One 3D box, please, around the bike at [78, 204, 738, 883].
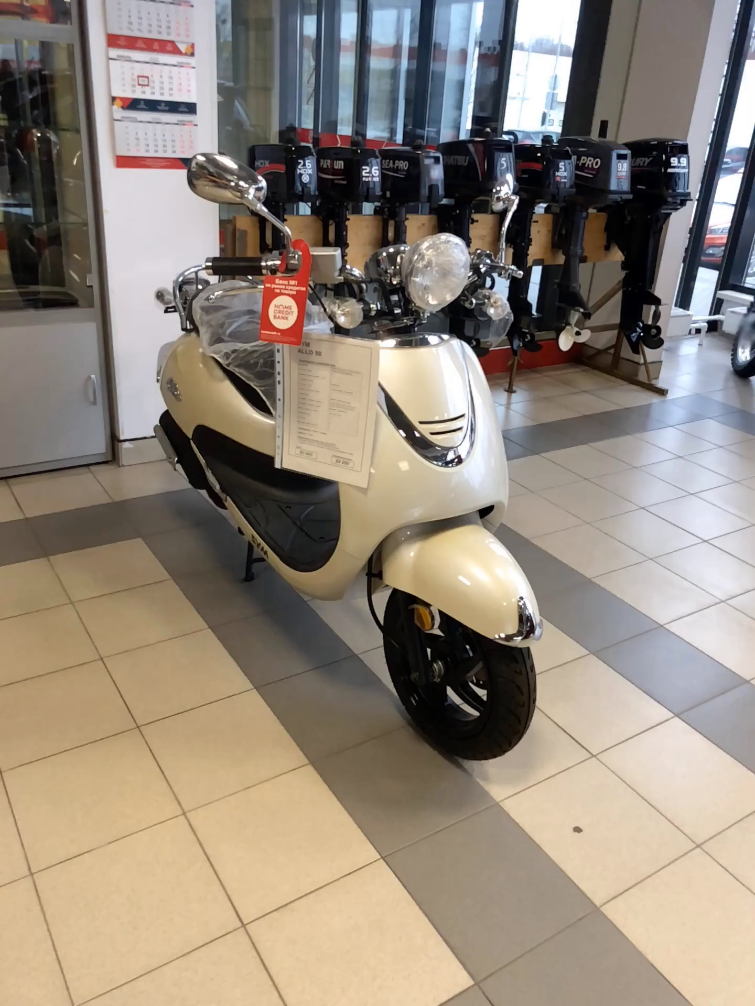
[{"bbox_3d":[-0.124,-0.132,2.222,0.805,0.963,1.688,-11,32,-31],"label":"bike"}]
